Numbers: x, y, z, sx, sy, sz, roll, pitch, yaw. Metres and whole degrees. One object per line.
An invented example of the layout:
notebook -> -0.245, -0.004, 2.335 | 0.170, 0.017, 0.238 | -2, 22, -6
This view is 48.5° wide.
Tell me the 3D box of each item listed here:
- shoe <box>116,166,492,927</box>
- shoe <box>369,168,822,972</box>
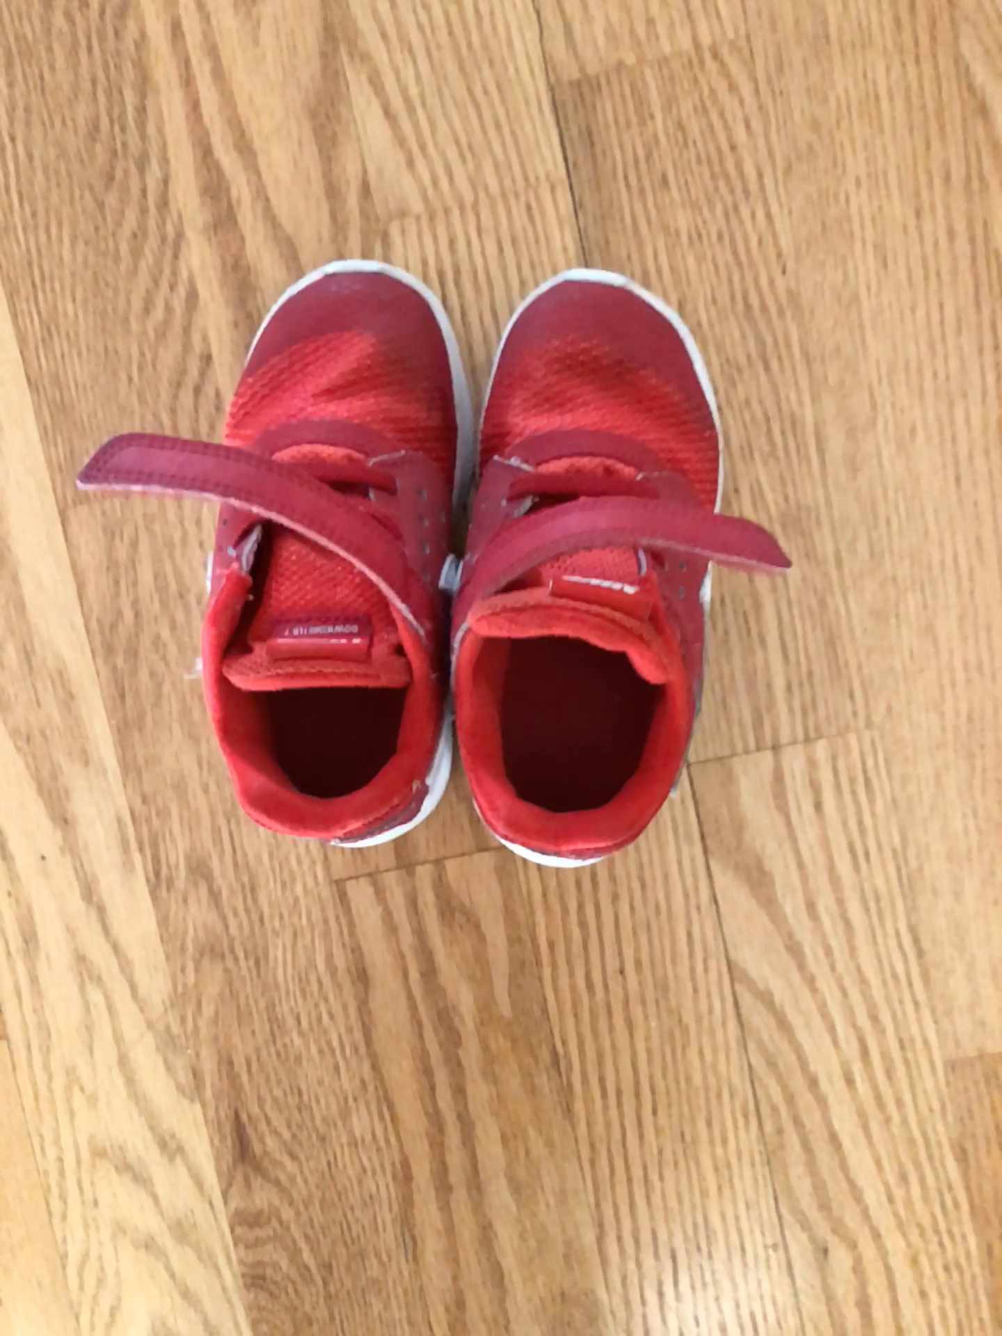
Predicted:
shoe -> -0.045, -0.028, 0.293 | 0.080, 0.069, 0.175 | 0, 94, 3
shoe -> 0.021, -0.023, 0.289 | 0.088, 0.069, 0.177 | 5, 94, 2
